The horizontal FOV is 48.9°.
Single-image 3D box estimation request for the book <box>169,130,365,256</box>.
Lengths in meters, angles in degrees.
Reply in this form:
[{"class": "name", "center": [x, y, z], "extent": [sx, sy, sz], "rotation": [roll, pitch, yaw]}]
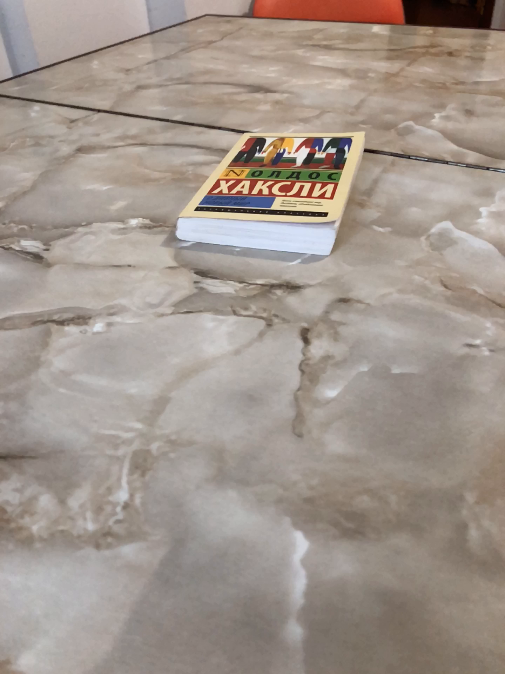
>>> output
[{"class": "book", "center": [0.022, -0.127, 0.457], "extent": [0.120, 0.020, 0.185], "rotation": [7, 39, 13]}]
